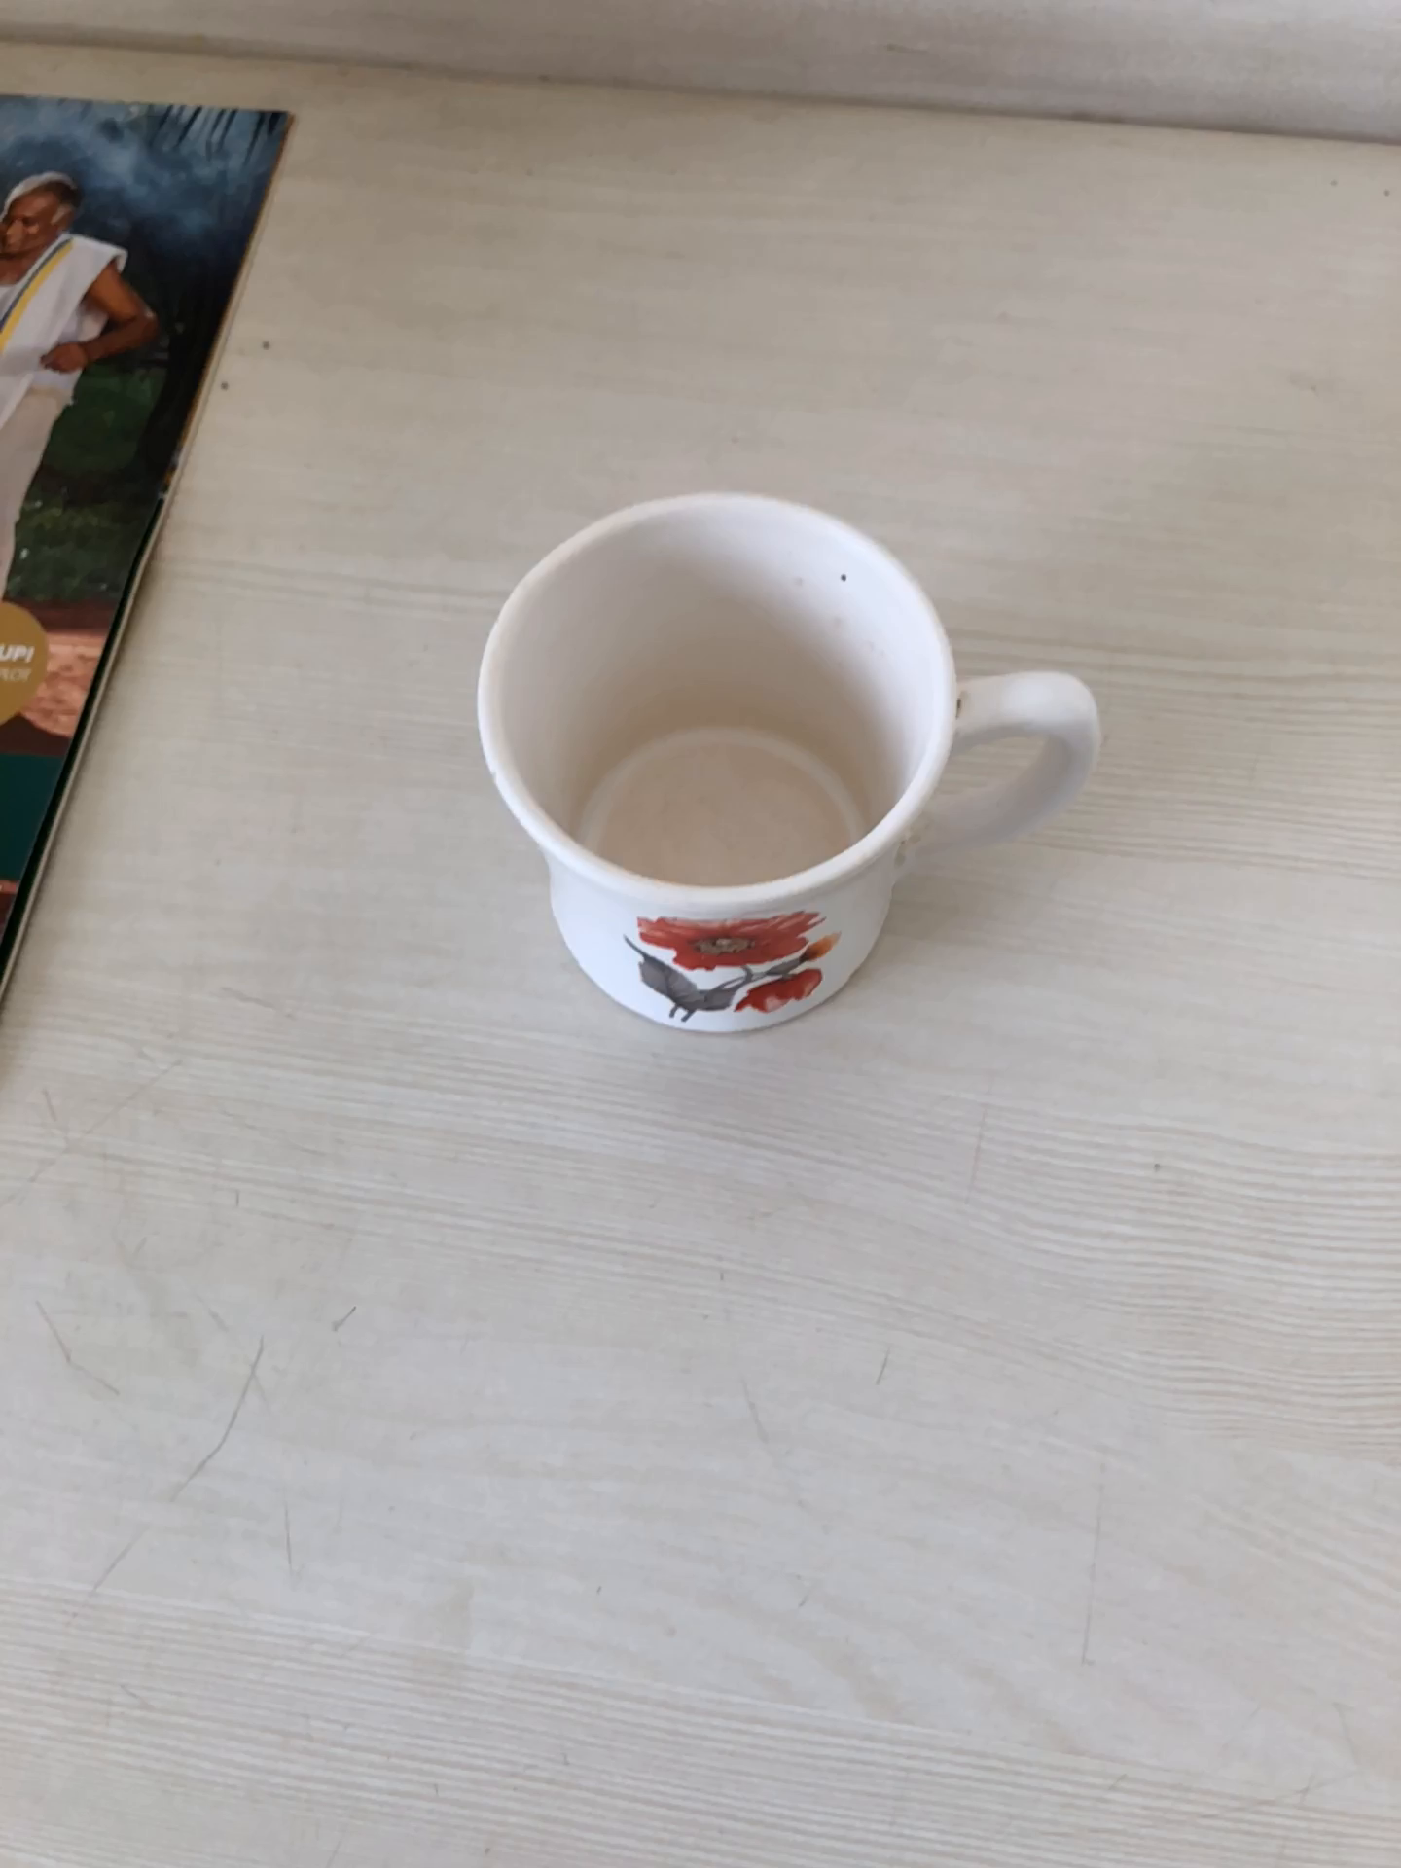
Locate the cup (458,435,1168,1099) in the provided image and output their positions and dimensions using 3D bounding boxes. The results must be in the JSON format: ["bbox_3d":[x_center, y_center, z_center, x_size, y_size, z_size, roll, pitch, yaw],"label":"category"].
[{"bbox_3d":[0.014,-0.024,0.251,0.090,0.070,0.070,-7,65,-1],"label":"cup"}]
